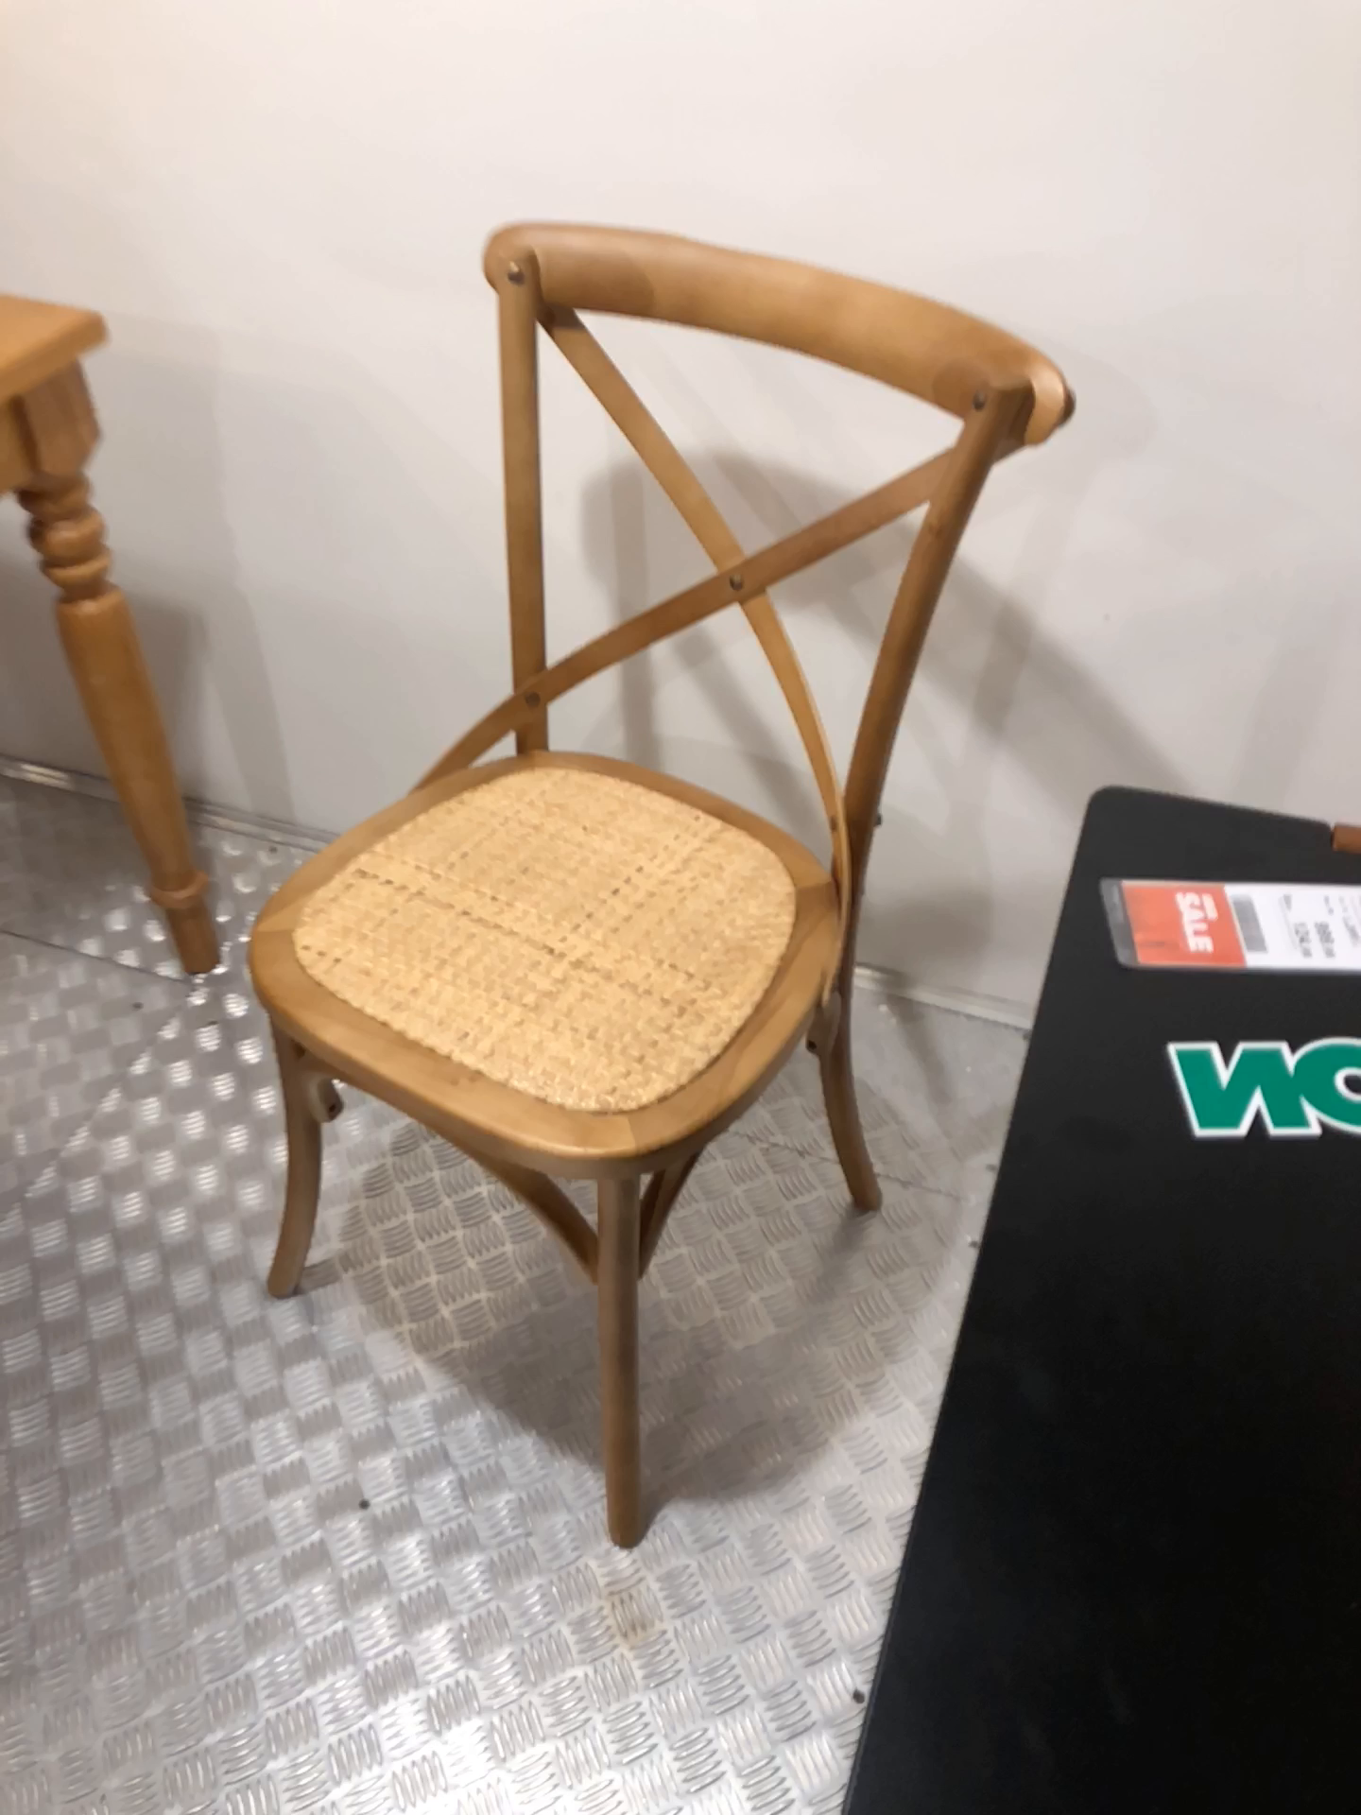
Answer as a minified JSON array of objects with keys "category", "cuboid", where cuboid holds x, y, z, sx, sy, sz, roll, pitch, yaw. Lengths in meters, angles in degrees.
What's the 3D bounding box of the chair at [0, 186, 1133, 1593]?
[{"category":"chair","cuboid":[-0.064,-0.007,1.211,0.501,0.873,0.543,26,49,27]}]
